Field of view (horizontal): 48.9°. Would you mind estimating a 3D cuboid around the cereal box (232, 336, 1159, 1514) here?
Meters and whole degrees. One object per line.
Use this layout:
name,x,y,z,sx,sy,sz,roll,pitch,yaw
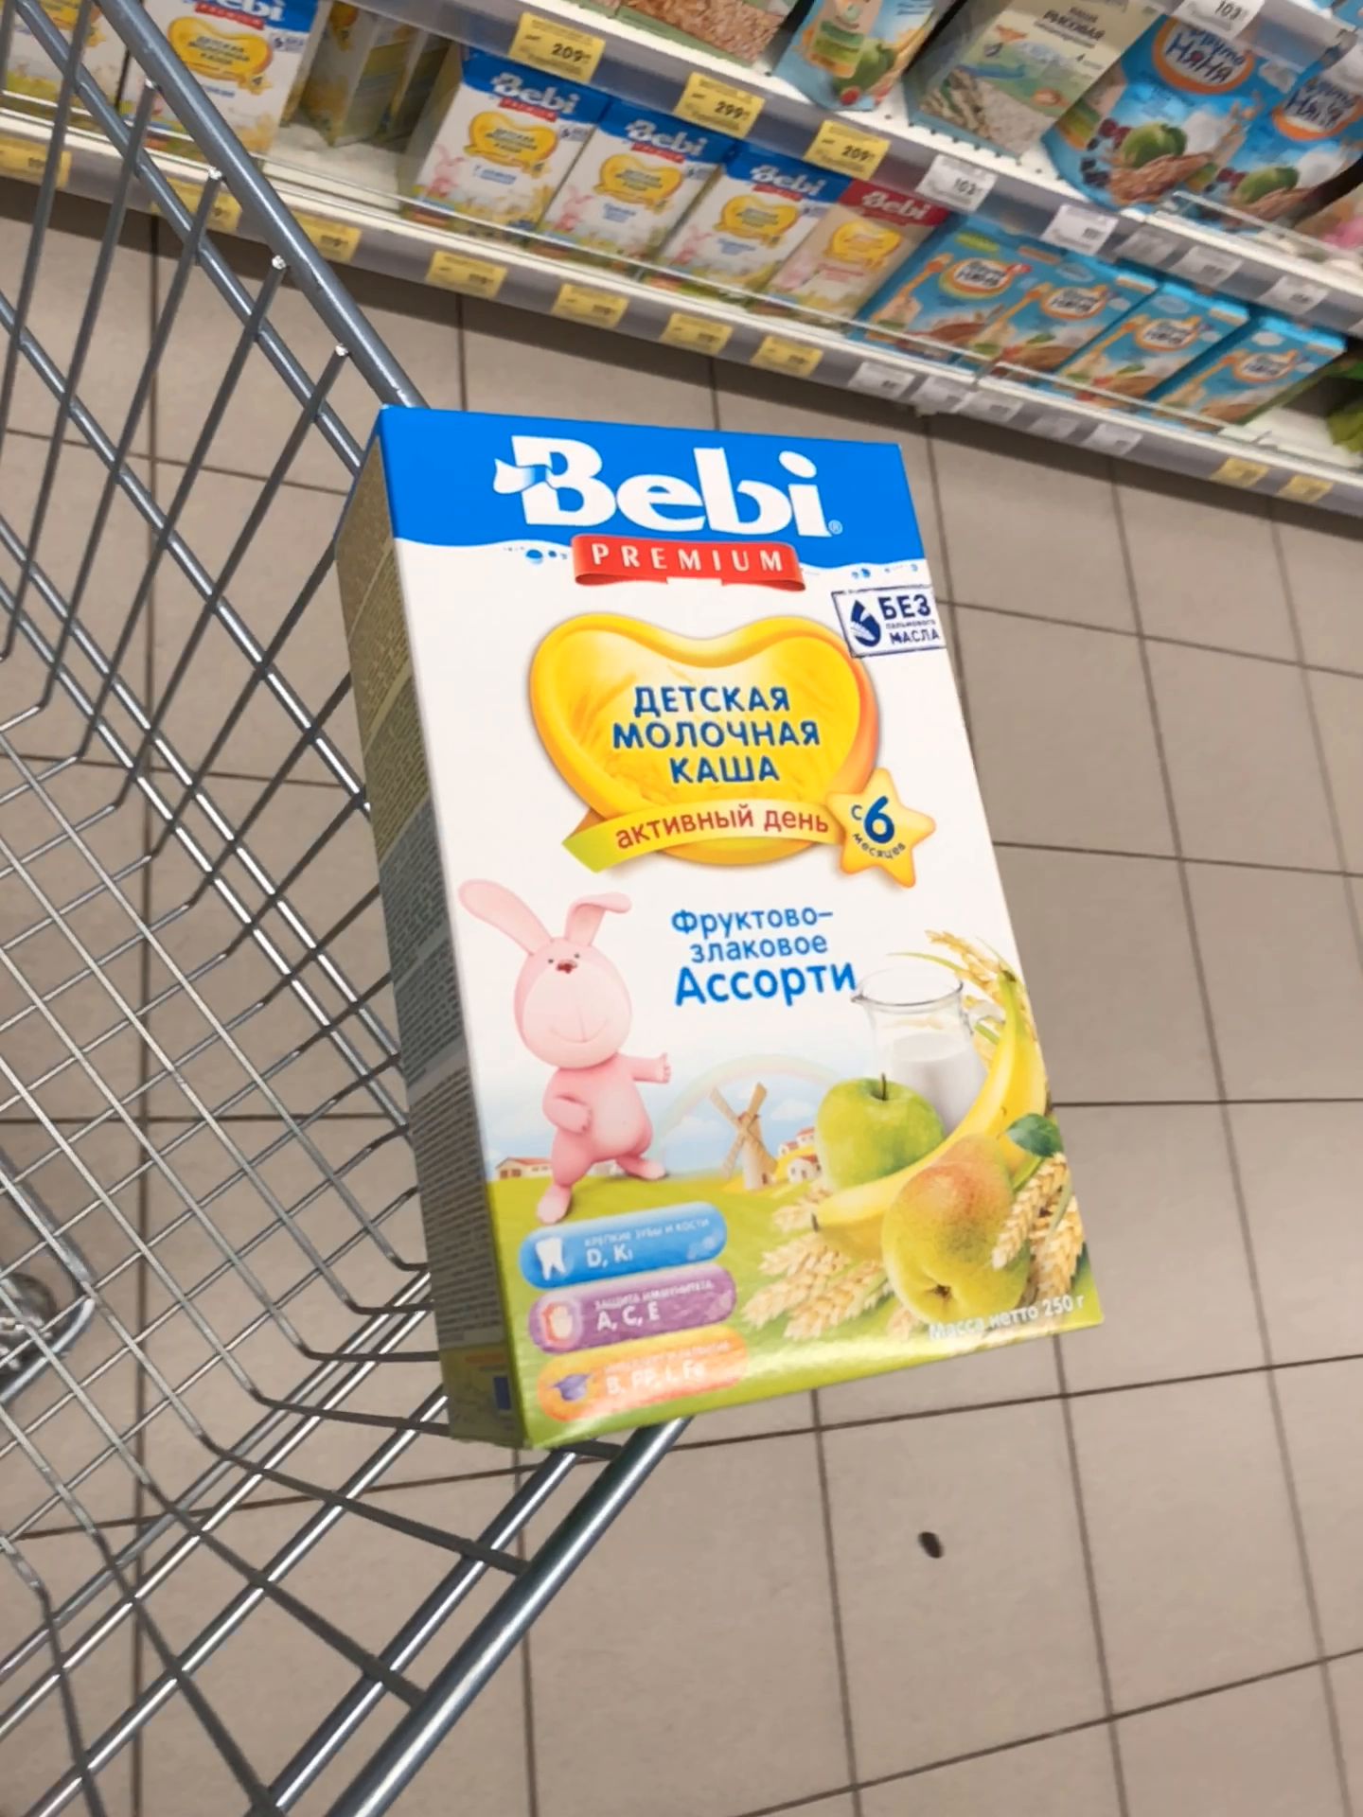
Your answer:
cereal box,-0.003,-0.005,0.308,0.150,0.050,0.210,-4,75,-23
